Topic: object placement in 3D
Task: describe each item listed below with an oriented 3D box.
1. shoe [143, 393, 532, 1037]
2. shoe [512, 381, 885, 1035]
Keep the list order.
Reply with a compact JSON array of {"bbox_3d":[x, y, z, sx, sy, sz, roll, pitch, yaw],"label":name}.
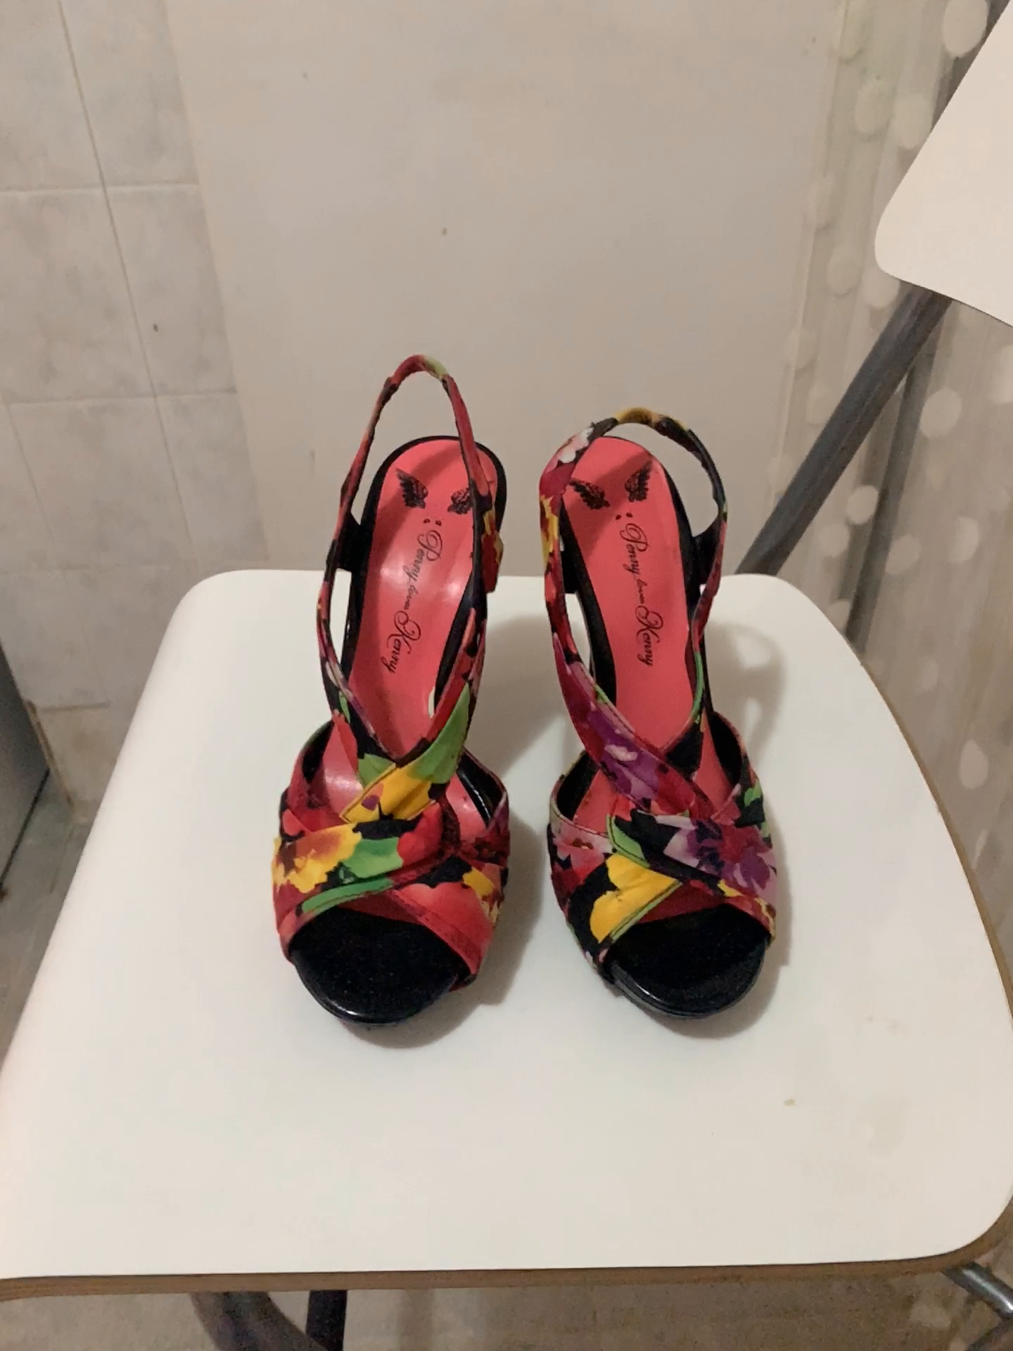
[{"bbox_3d":[-0.040,0.002,0.345,0.082,0.073,0.206,2,53,5],"label":"shoe"},{"bbox_3d":[0.048,0.002,0.351,0.080,0.085,0.206,-3,53,-2],"label":"shoe"}]
